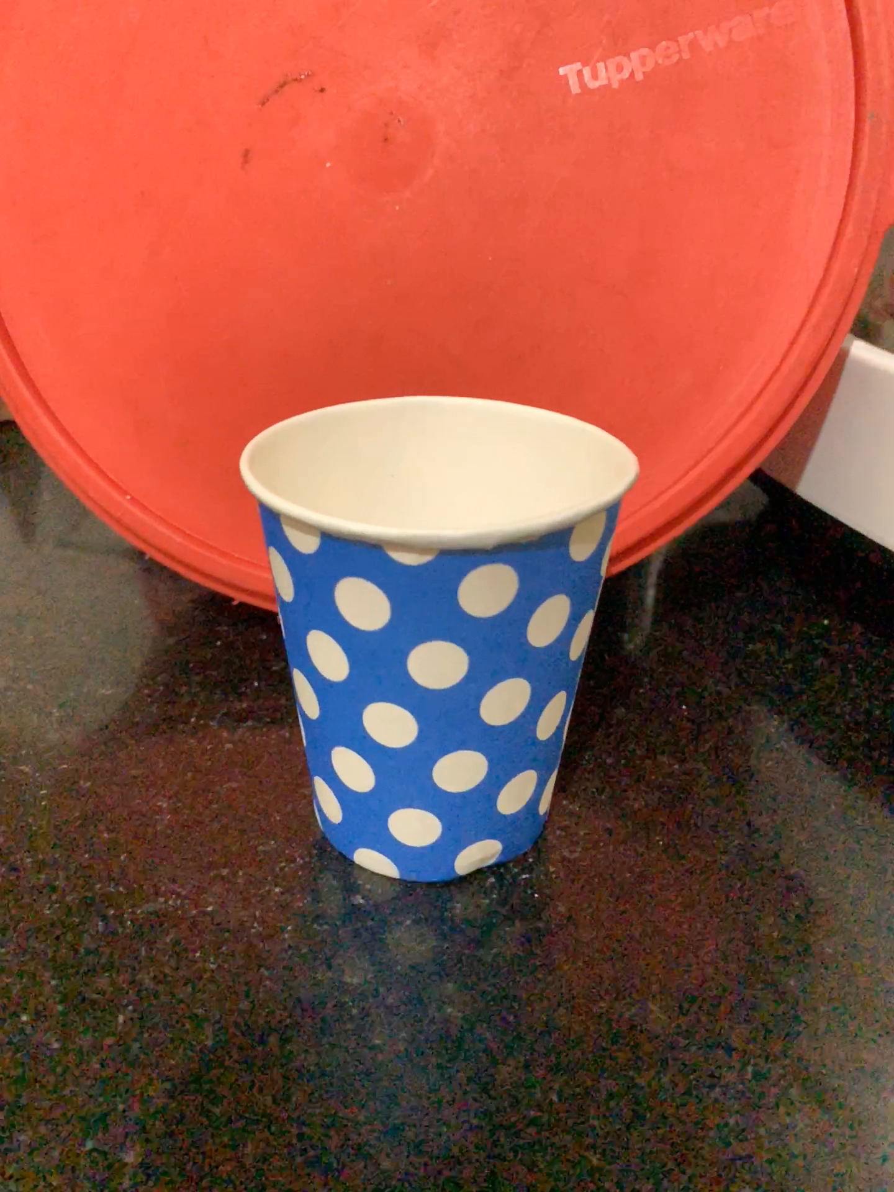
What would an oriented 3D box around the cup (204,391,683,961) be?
[{"bbox_3d":[-0.007,0.010,0.182,0.070,0.079,0.071,2,27,-1],"label":"cup"}]
